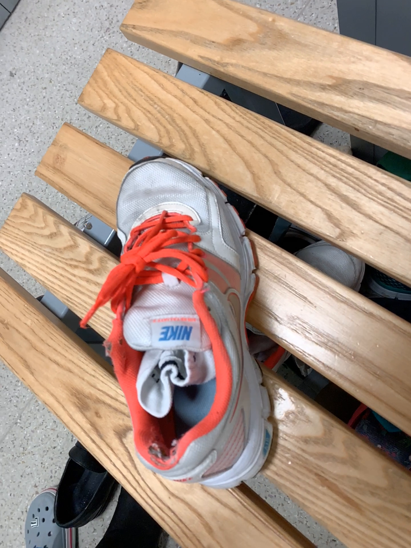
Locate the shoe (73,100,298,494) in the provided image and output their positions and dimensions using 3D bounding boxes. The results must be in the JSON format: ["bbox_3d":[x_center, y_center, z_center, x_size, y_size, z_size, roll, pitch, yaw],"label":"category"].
[{"bbox_3d":[-0.018,0.016,0.311,0.110,0.079,0.242,-14,75,19],"label":"shoe"}]
